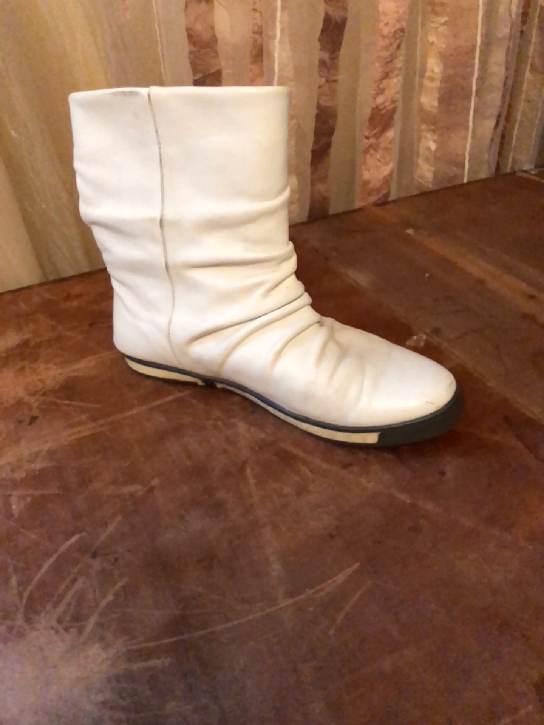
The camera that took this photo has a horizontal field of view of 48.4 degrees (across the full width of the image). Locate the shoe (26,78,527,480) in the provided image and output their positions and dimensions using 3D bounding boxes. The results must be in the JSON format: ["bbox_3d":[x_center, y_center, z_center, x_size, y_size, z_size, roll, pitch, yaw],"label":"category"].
[{"bbox_3d":[-0.003,-0.062,0.351,0.240,0.169,0.090,16,38,27],"label":"shoe"}]
